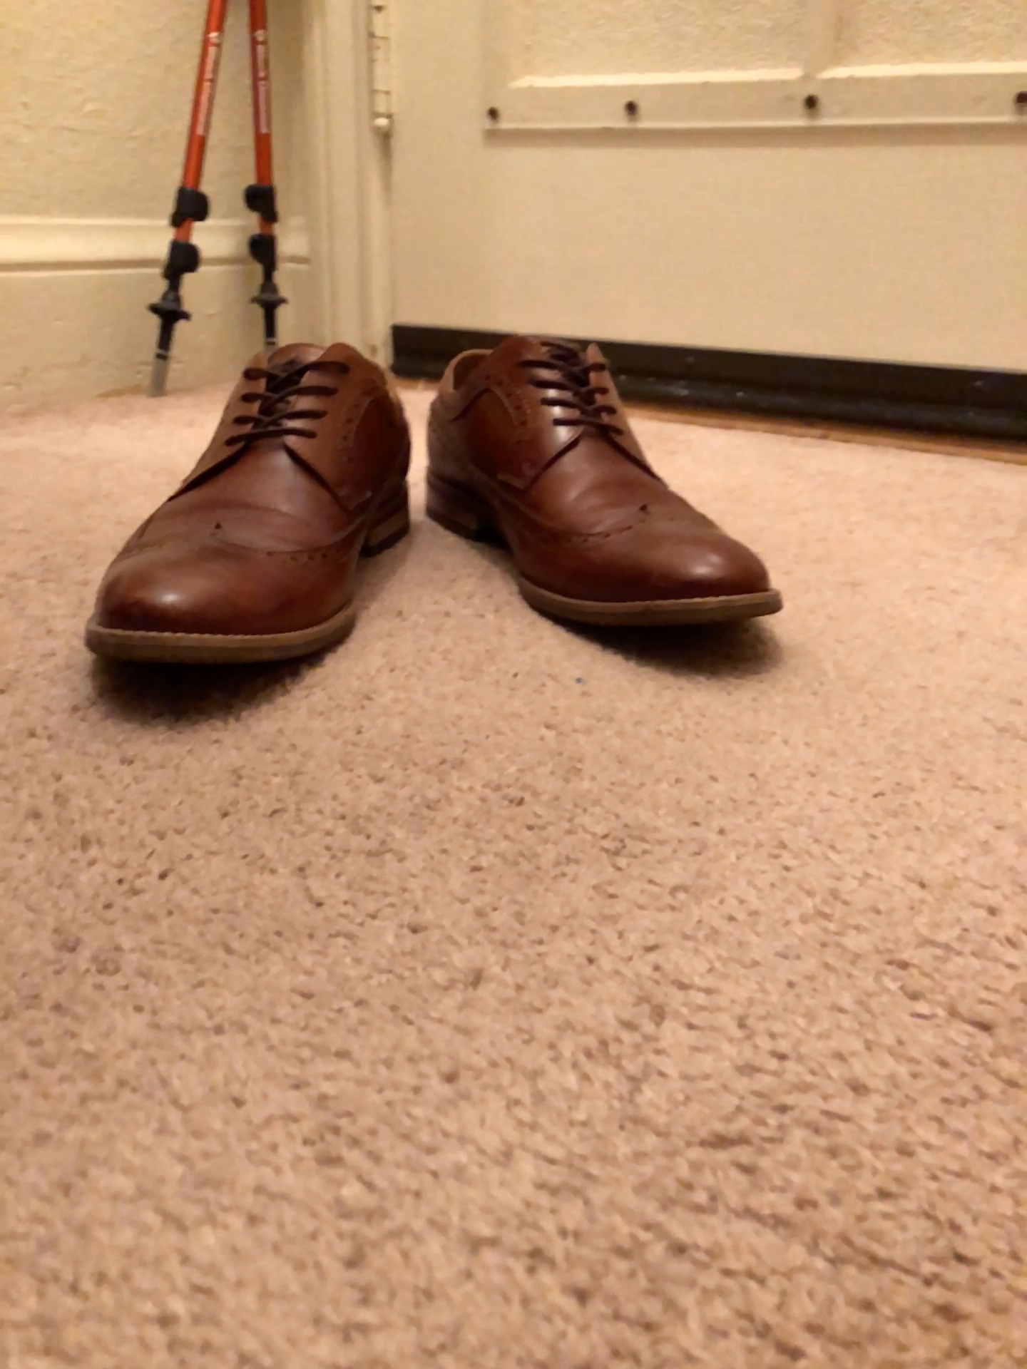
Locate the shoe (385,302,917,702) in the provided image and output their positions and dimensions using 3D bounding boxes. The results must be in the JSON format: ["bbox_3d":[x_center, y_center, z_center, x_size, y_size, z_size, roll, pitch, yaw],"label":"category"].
[{"bbox_3d":[0.036,-0.111,0.547,0.115,0.114,0.311,-7,24,-20],"label":"shoe"}]

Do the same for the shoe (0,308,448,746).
[{"bbox_3d":[-0.115,-0.096,0.514,0.115,0.114,0.312,4,23,6],"label":"shoe"}]
